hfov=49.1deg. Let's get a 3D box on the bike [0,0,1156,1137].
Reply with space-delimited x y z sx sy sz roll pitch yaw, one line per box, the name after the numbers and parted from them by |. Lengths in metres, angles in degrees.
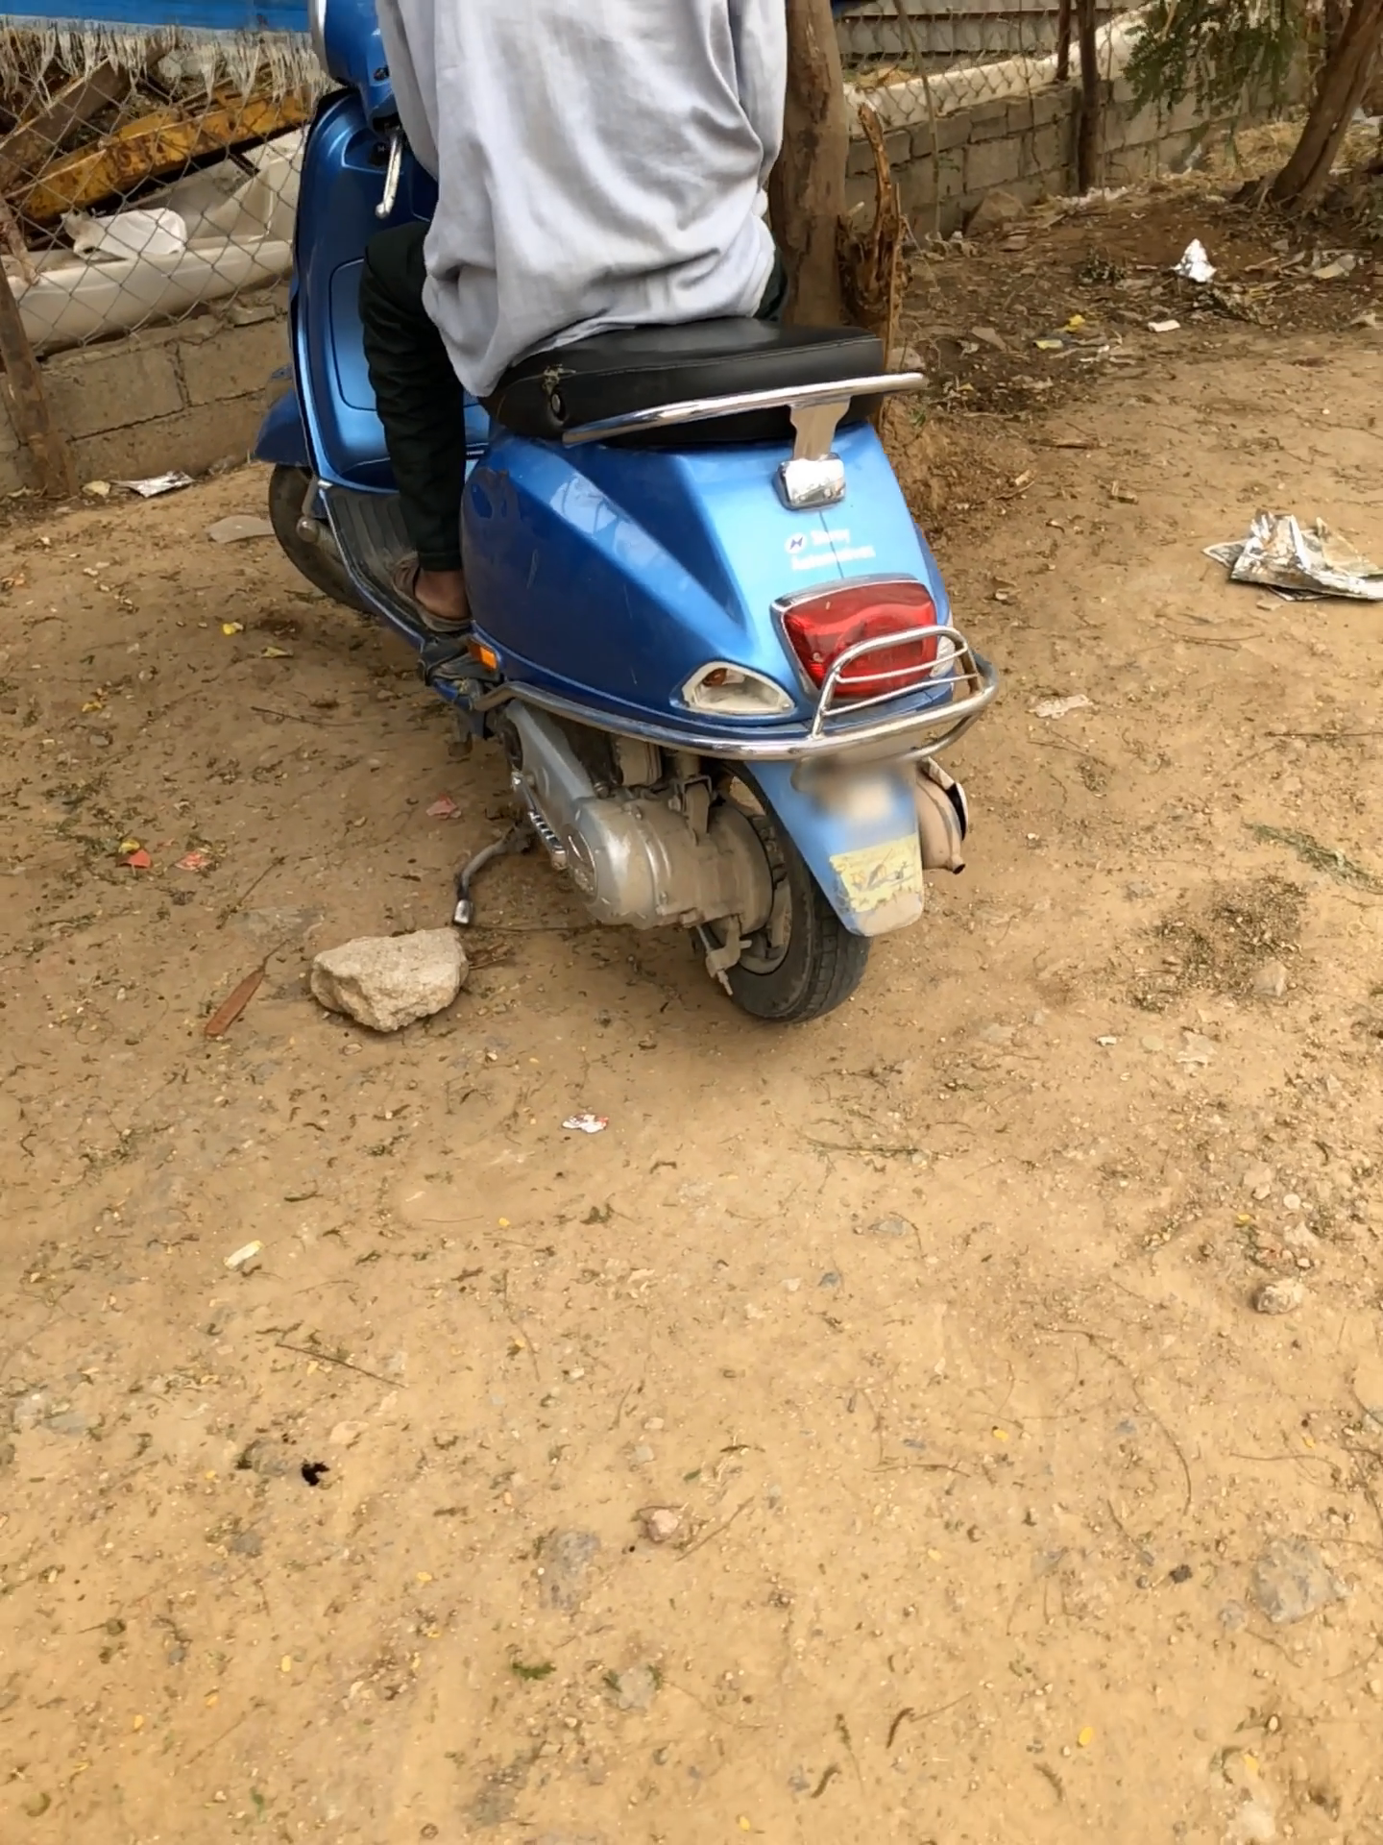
-0.285 -0.769 2.110 0.634 1.253 1.569 -25 43 -28 | bike
